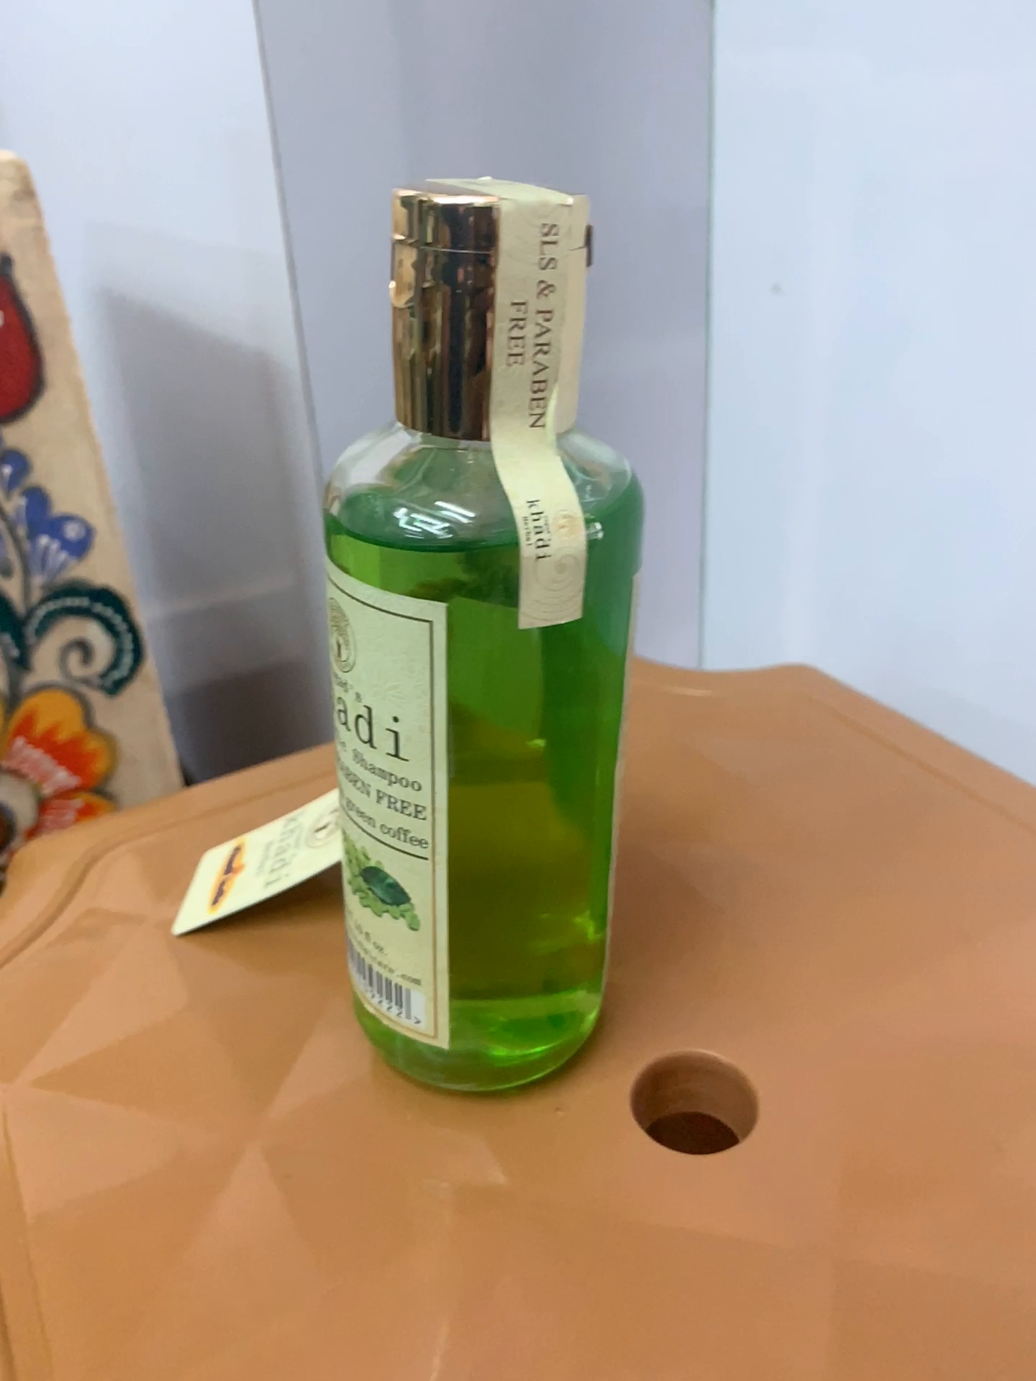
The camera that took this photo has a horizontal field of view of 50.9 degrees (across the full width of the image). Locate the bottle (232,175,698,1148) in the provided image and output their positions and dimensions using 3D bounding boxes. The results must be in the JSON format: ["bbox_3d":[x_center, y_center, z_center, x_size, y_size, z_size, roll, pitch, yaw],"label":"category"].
[{"bbox_3d":[-0.010,-0.003,0.183,0.050,0.149,0.050,0,27,0],"label":"bottle"}]
